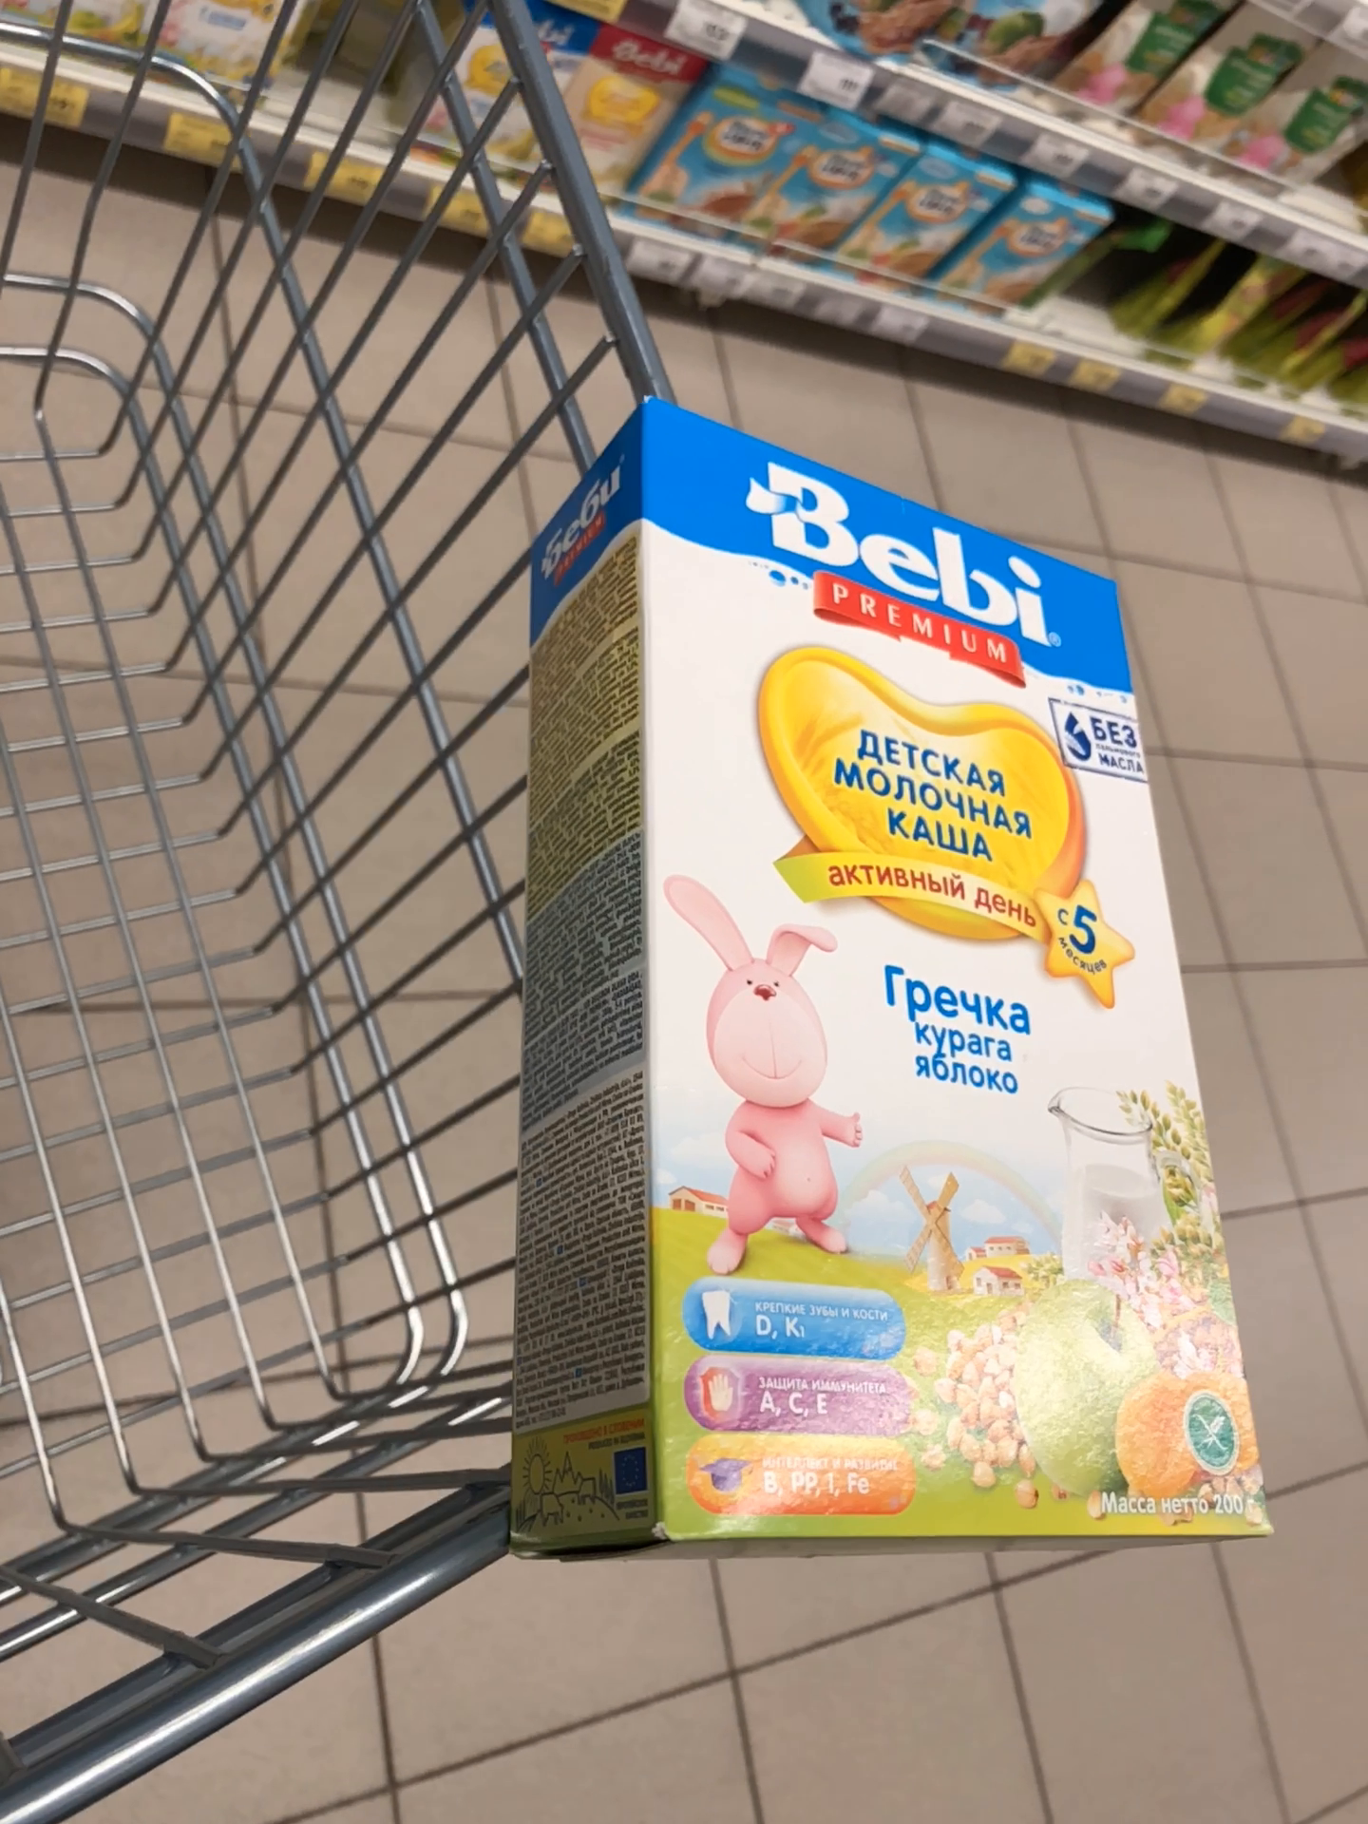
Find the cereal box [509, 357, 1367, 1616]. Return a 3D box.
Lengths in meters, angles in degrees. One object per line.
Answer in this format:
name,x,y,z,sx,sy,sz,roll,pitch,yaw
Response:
cereal box,0.044,0.016,0.289,0.140,0.050,0.210,13,62,-28
